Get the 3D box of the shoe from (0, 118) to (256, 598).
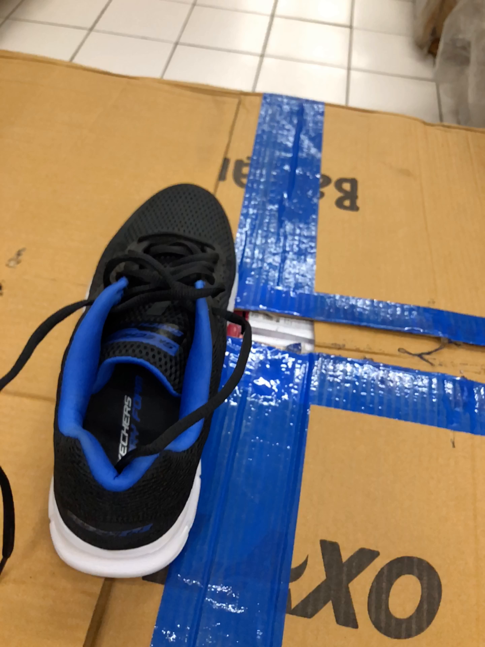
[{"bbox_3d":[-0.063,0.010,0.350,0.110,0.129,0.271,7,53,-1],"label":"shoe"}]
